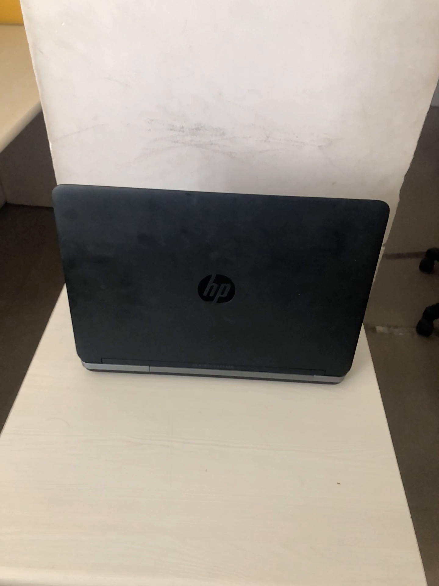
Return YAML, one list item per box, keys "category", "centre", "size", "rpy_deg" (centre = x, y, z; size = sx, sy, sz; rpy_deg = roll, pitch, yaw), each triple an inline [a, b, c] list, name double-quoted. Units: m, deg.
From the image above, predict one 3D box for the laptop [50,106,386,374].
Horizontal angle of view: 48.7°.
- category: "laptop"
  centre: [0.001, -0.065, 0.604]
  size: [0.317, 0.225, 0.205]
  rpy_deg: [3, 43, 0]
